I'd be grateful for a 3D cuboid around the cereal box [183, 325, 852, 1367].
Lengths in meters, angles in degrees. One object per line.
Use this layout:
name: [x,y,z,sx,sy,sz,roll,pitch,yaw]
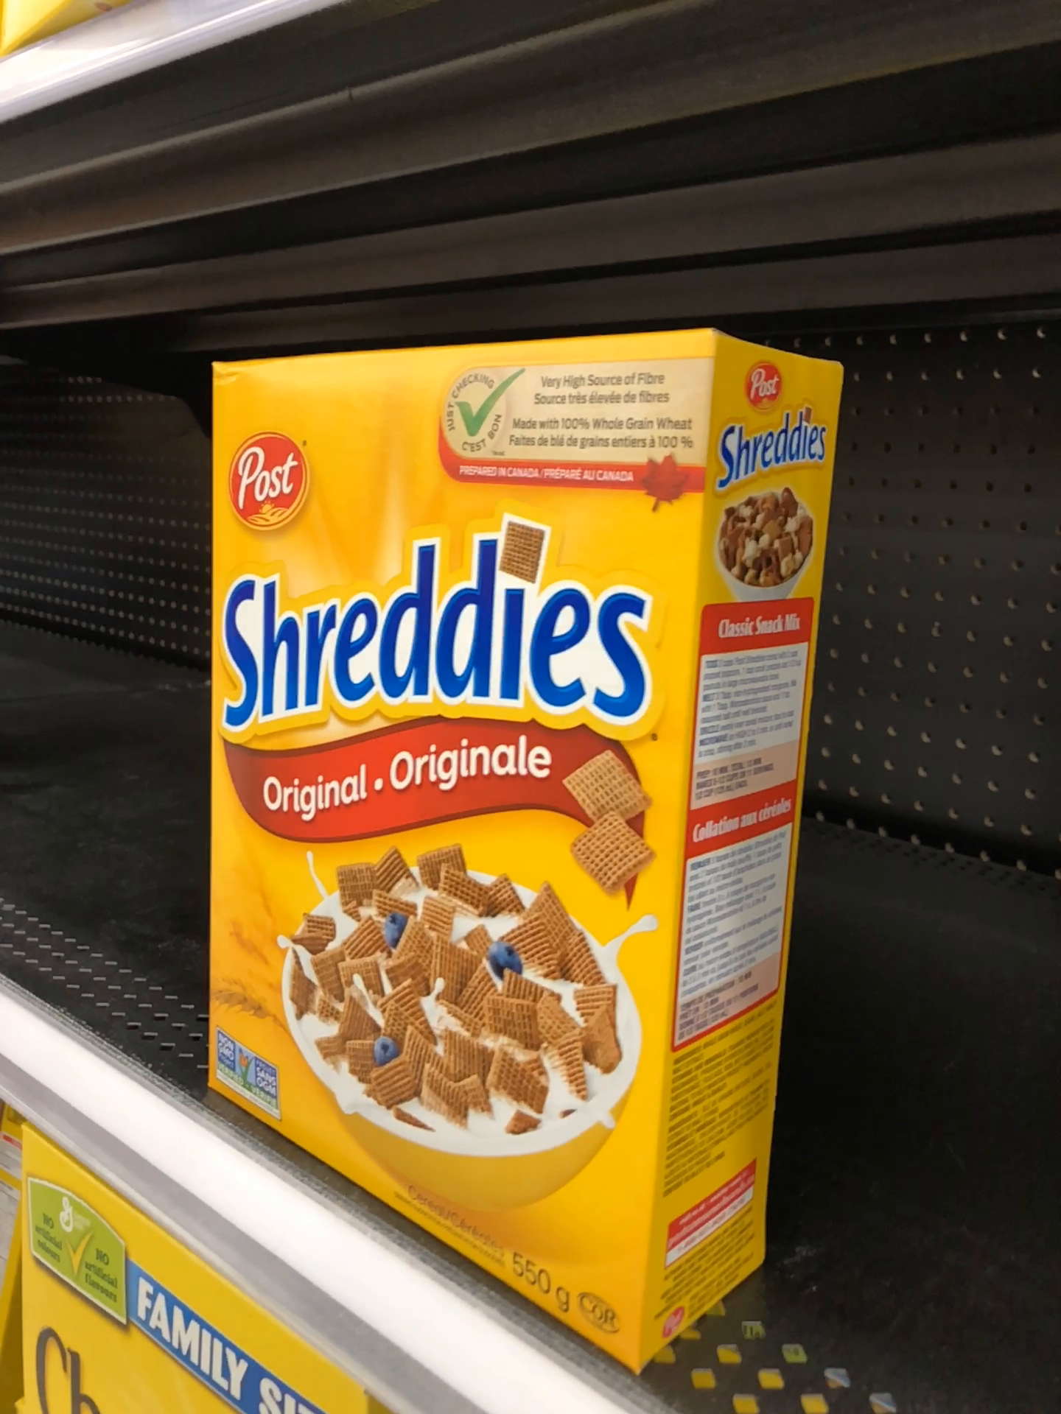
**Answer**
cereal box: [-0.022,0.023,0.376,0.210,0.259,0.070,11,13,40]
